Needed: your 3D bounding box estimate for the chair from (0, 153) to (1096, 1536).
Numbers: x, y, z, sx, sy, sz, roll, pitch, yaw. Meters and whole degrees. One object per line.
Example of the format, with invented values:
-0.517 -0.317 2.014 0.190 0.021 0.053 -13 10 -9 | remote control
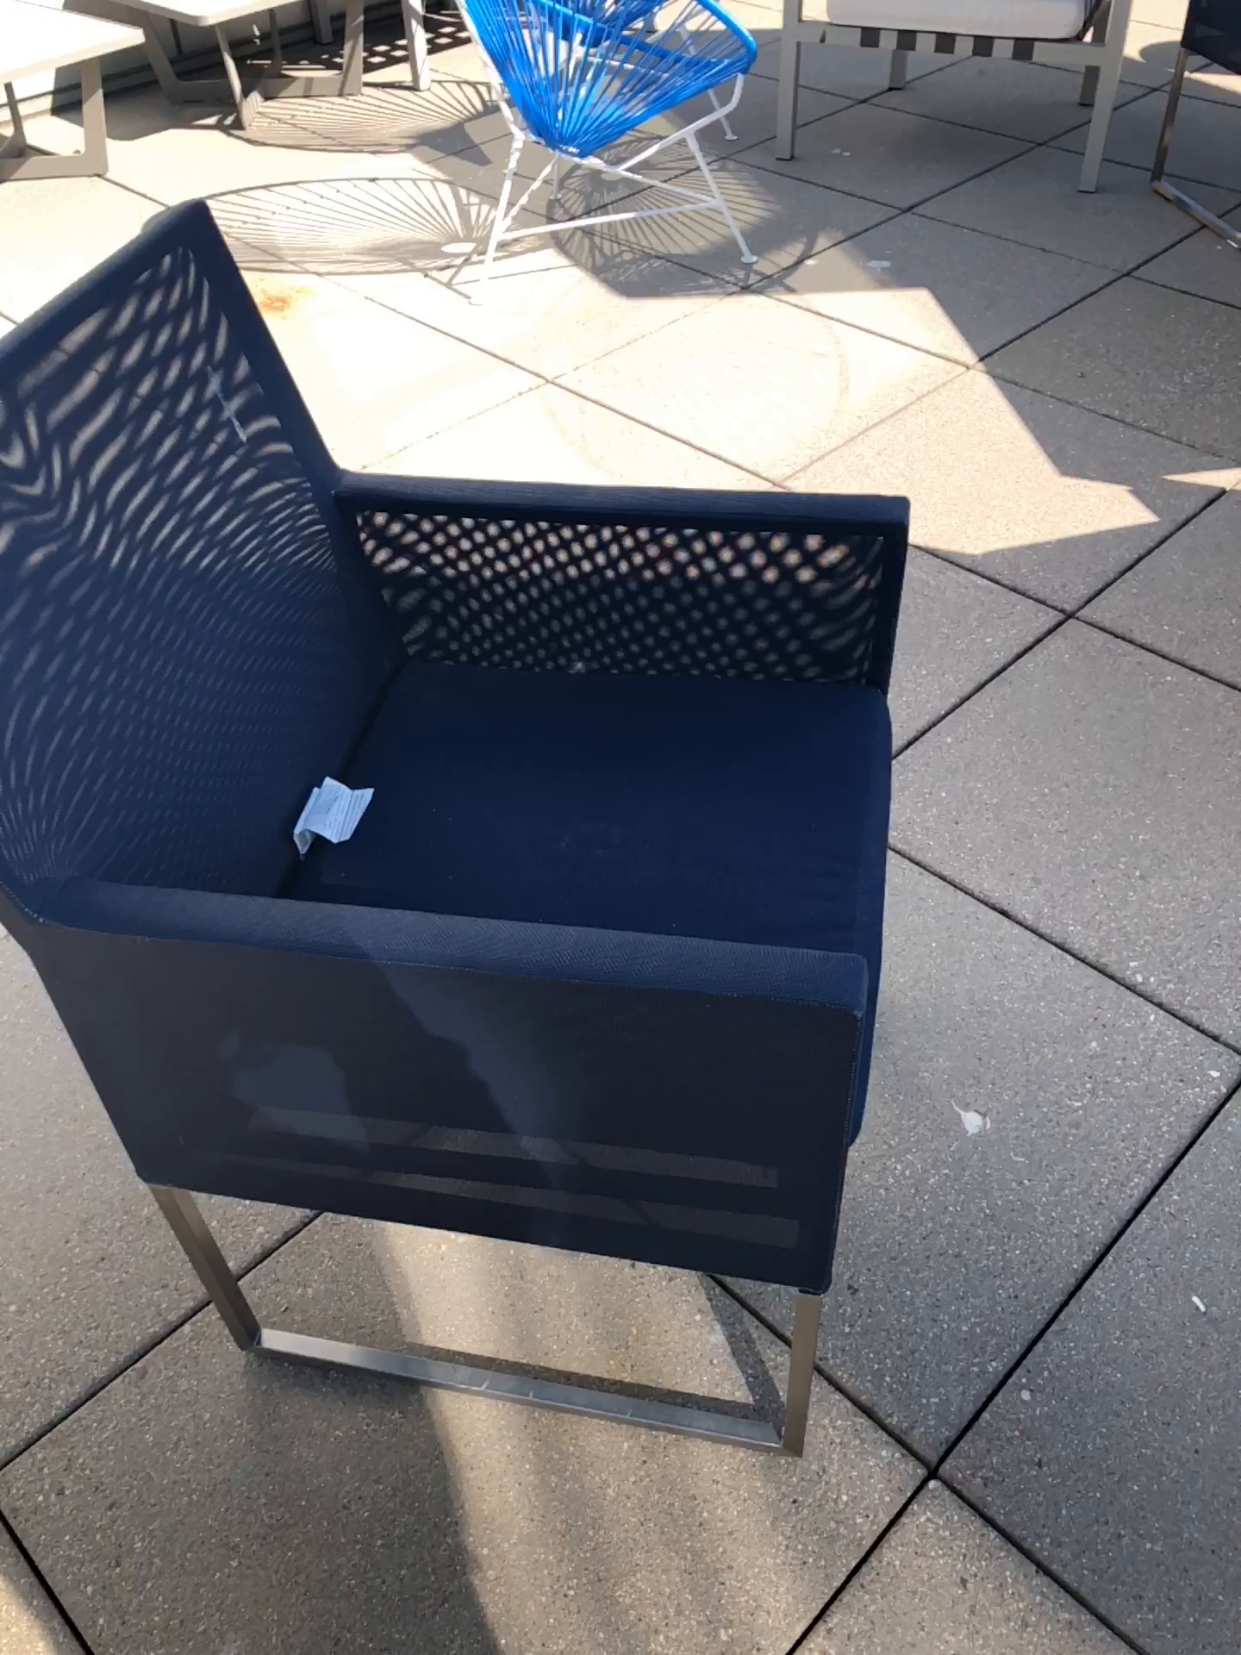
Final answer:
-0.066 0.000 1.077 0.670 0.776 0.653 7 44 10 | chair
